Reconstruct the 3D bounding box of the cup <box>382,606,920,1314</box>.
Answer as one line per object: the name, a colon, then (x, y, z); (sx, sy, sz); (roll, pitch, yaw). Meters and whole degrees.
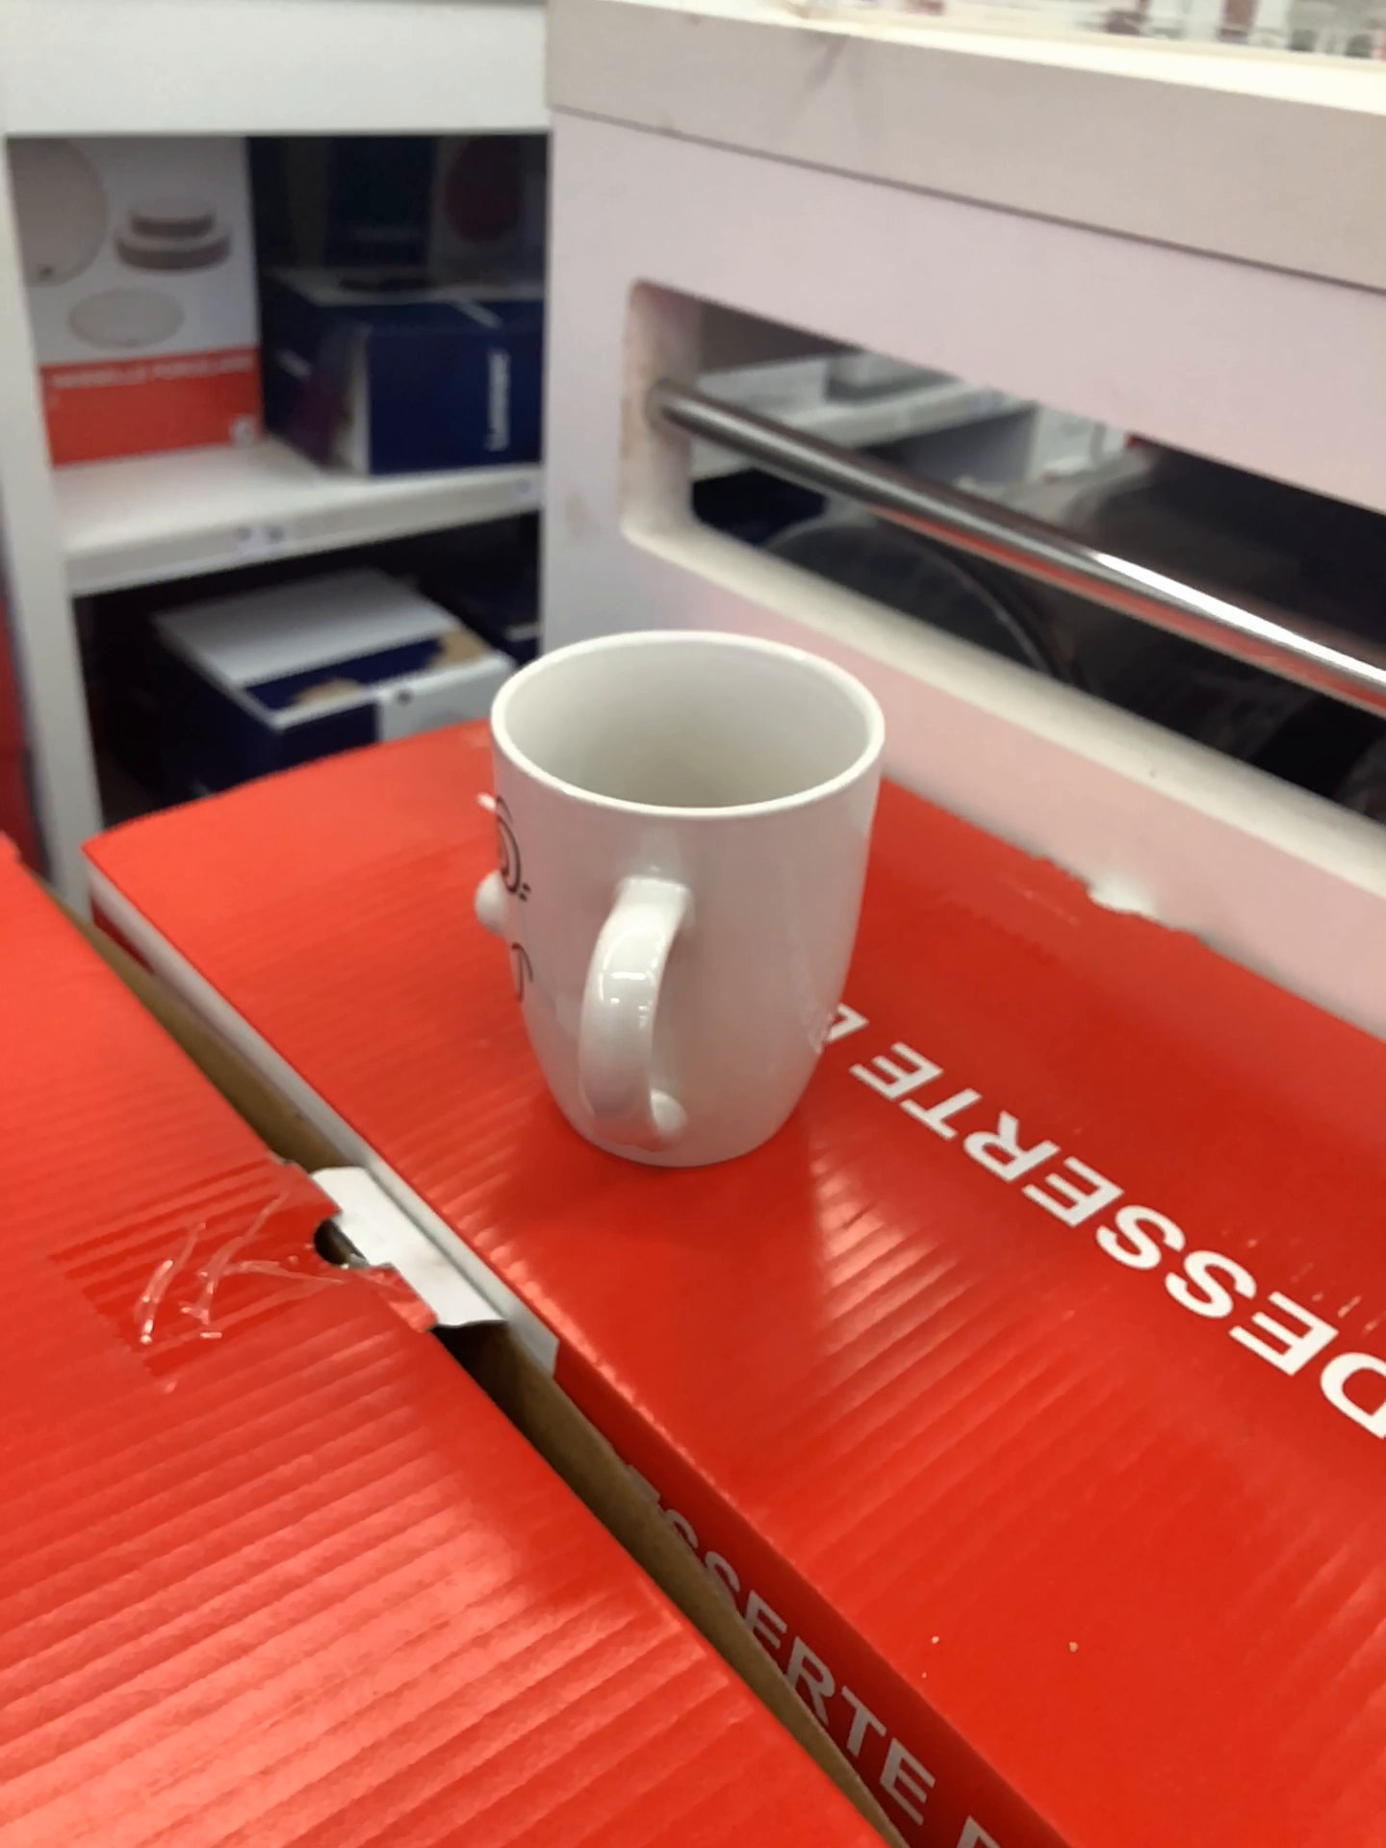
cup: (-0.005, 0.001, 0.340); (0.092, 0.092, 0.124); (7, 32, 2)
